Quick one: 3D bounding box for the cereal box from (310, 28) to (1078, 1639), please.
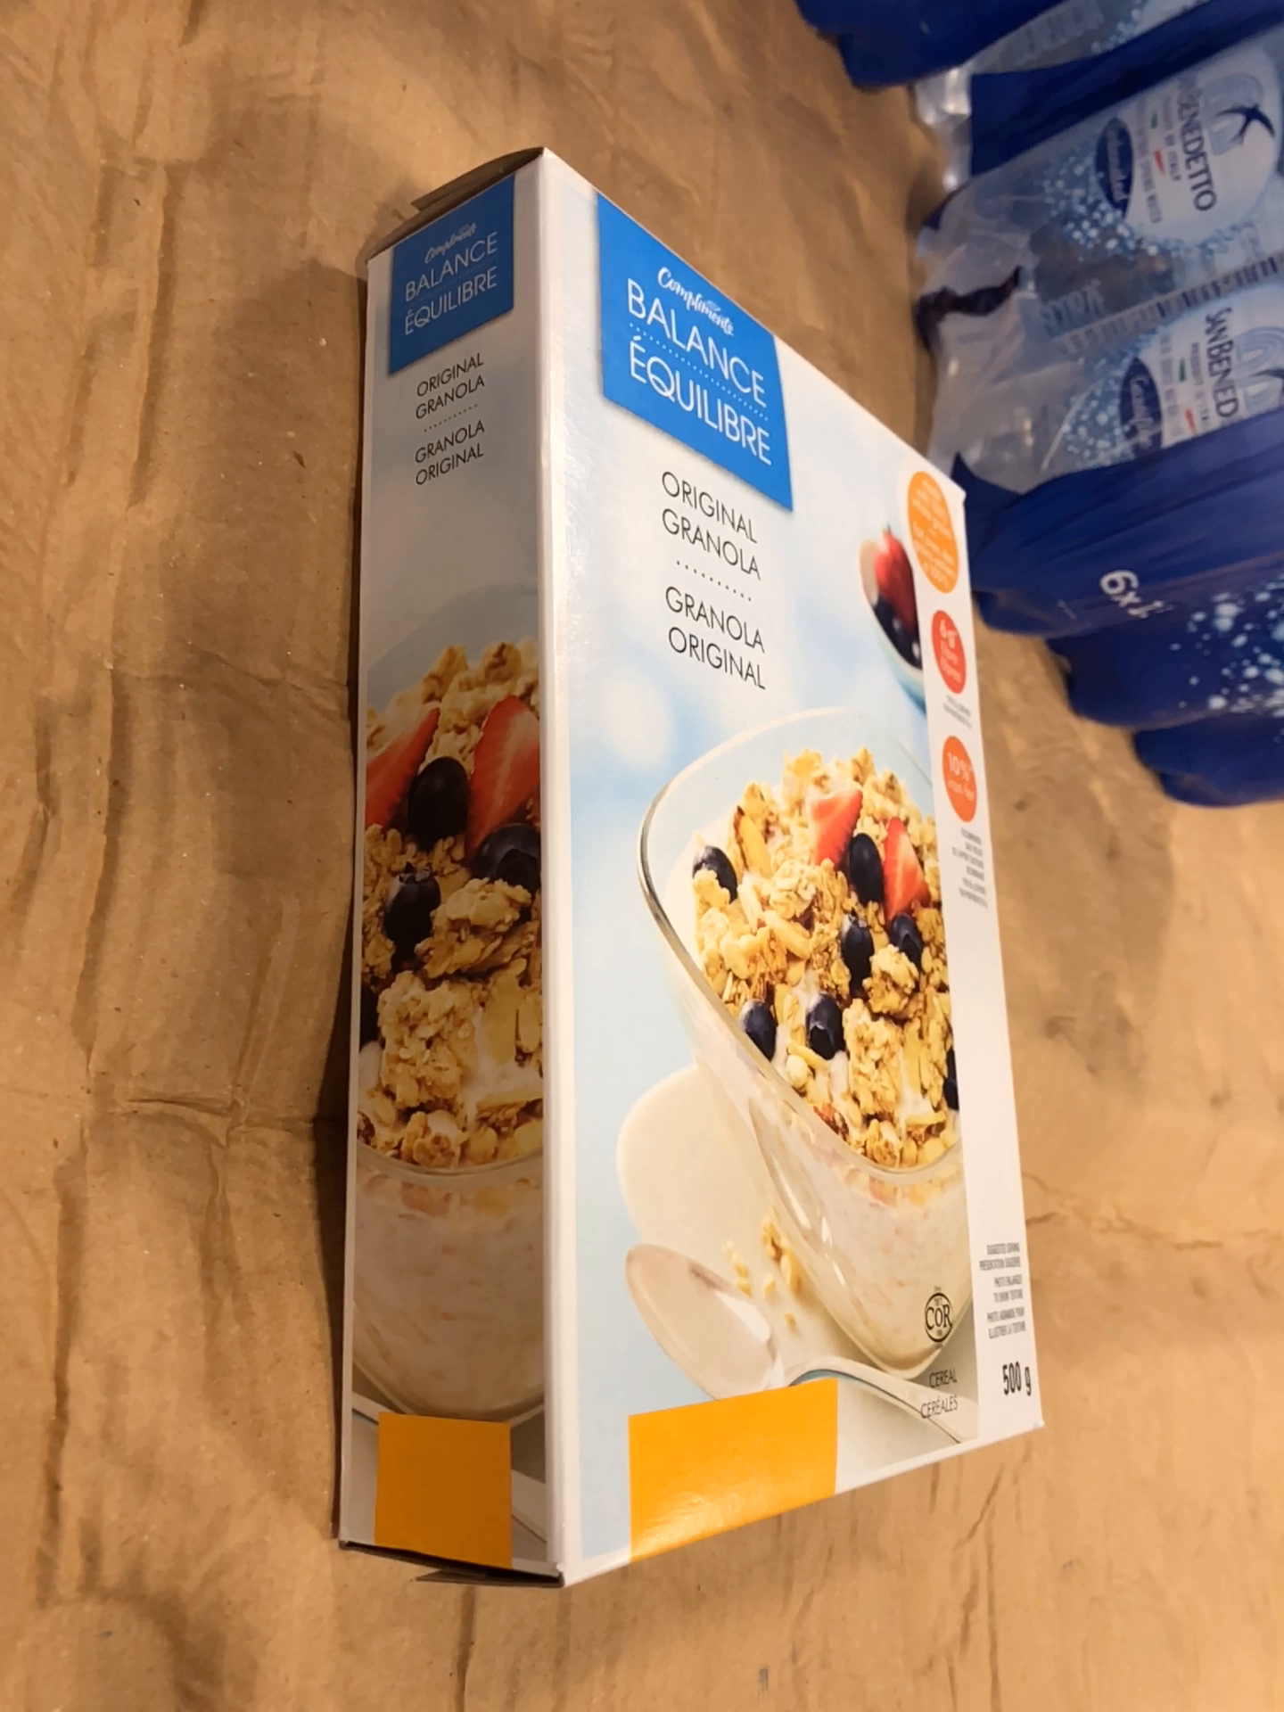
[{"bbox_3d":[0.020,0.000,0.300,0.181,0.050,0.250,16,67,-52],"label":"cereal box"}]
